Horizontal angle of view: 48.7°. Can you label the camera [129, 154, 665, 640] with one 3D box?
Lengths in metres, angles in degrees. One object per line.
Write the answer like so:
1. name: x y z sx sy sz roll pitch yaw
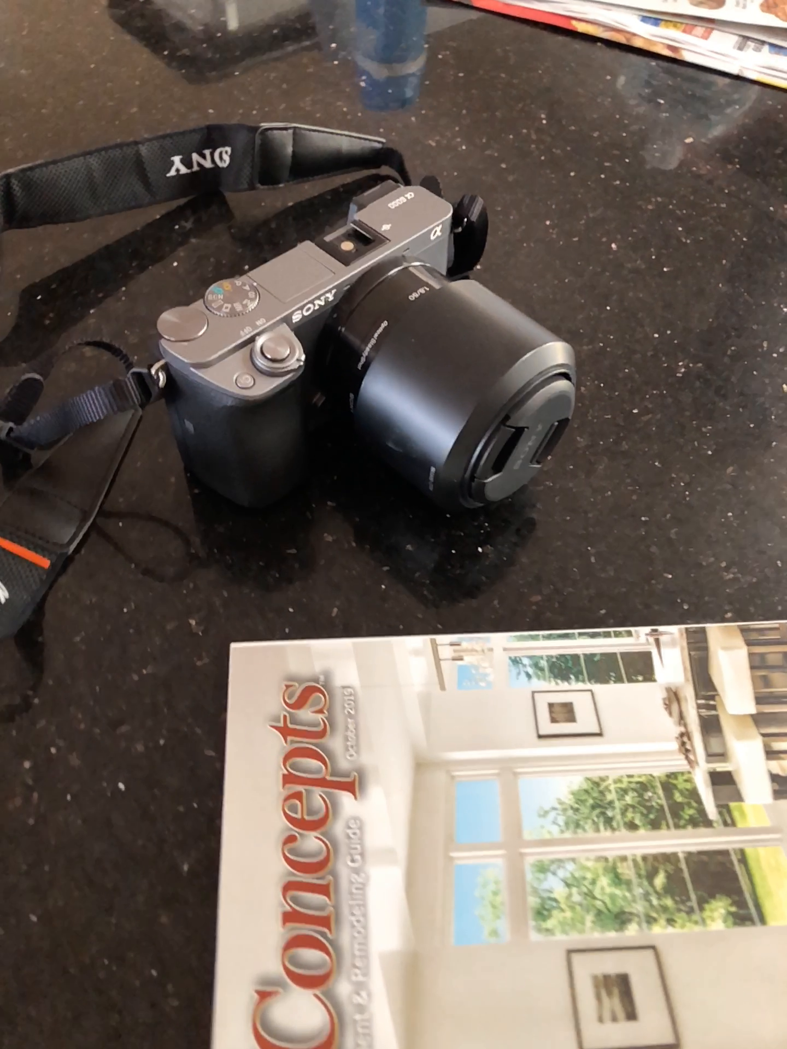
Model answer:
1. camera: 0.001 -0.049 0.288 0.110 0.060 0.120 40 62 22
